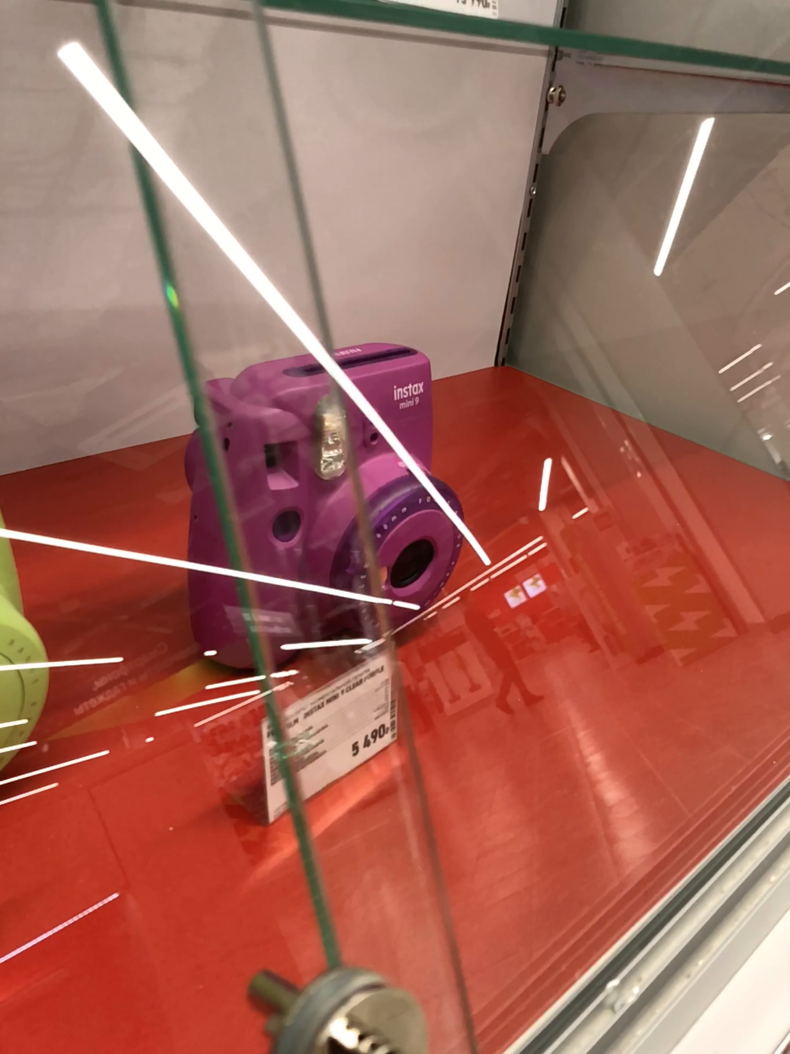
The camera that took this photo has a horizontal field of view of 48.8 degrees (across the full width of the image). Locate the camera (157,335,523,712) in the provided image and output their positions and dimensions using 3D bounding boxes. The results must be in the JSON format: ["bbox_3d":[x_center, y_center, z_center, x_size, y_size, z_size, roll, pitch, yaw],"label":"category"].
[{"bbox_3d":[-0.023,-0.009,0.348,0.117,0.103,0.073,-19,38,-40],"label":"camera"}]

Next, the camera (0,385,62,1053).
[{"bbox_3d":[-0.179,0.040,0.243,0.073,0.118,0.135,28,34,33],"label":"camera"}]
